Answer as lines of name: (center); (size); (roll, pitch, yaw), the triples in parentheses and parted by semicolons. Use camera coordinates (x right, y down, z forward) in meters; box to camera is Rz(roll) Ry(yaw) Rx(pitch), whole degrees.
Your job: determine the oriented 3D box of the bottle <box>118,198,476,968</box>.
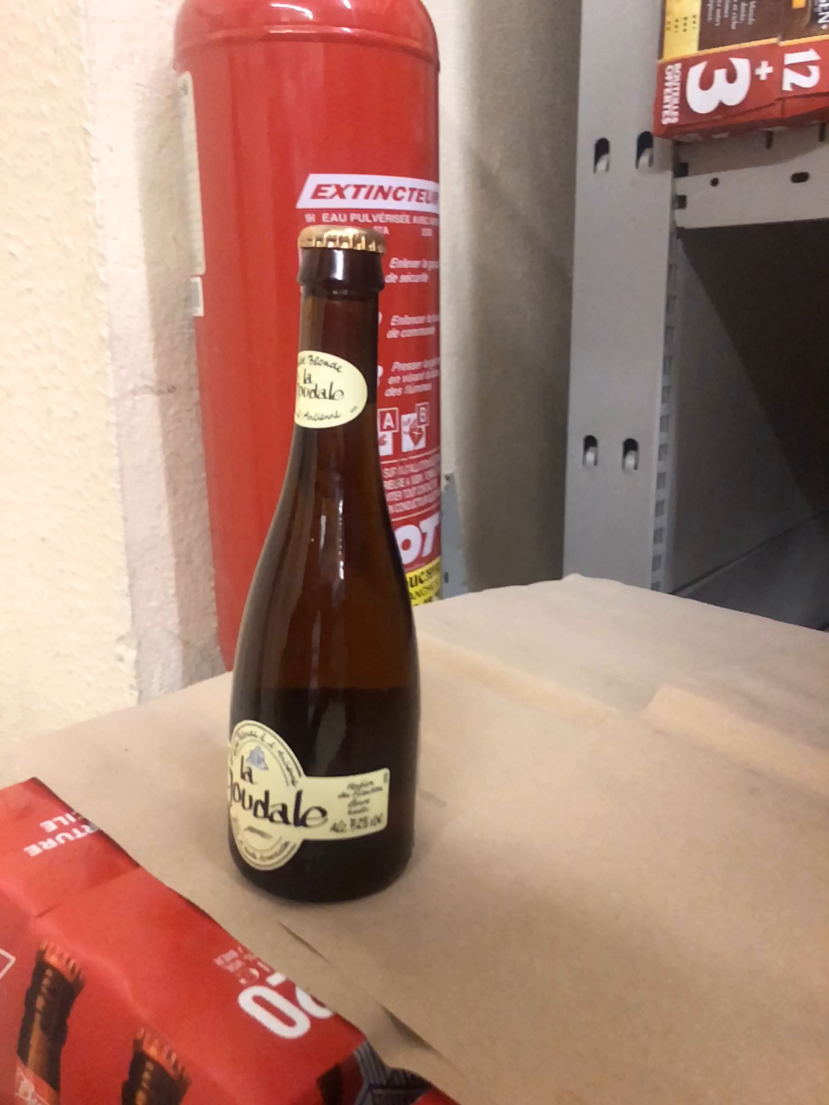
bottle: (-0.035, 0.006, 0.299); (0.080, 0.219, 0.070); (10, 16, 32)
